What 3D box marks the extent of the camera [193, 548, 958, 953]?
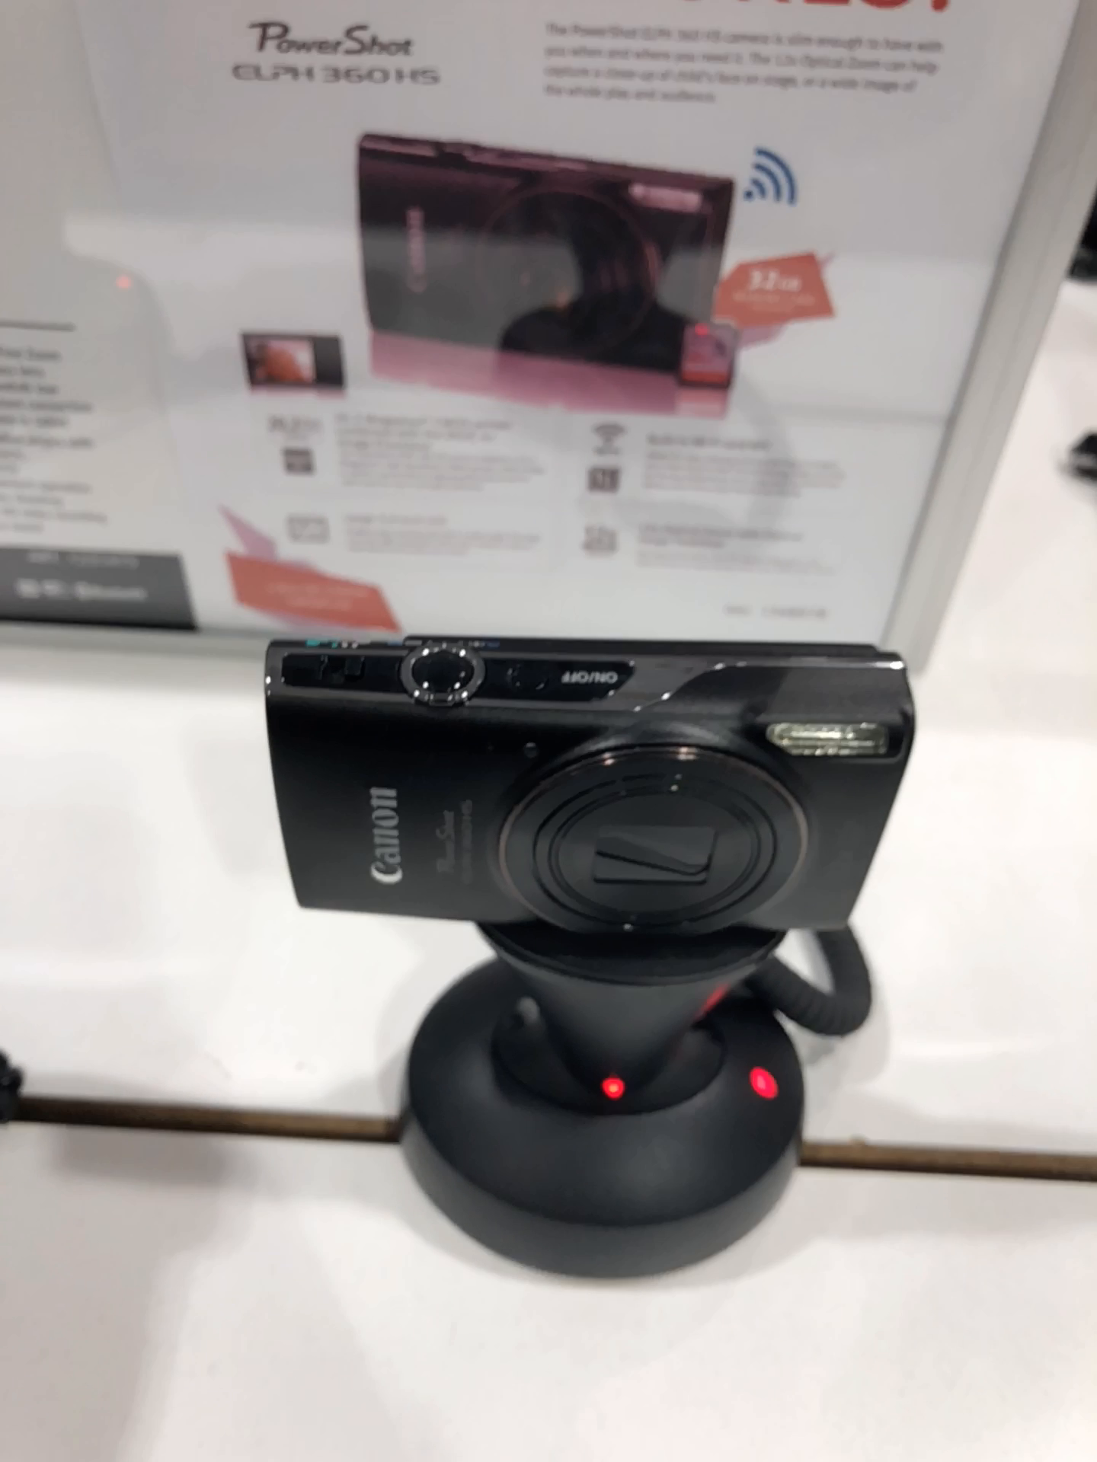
[{"bbox_3d":[0.003,0.005,0.211,0.110,0.060,0.030,3,47,0],"label":"camera"}]
